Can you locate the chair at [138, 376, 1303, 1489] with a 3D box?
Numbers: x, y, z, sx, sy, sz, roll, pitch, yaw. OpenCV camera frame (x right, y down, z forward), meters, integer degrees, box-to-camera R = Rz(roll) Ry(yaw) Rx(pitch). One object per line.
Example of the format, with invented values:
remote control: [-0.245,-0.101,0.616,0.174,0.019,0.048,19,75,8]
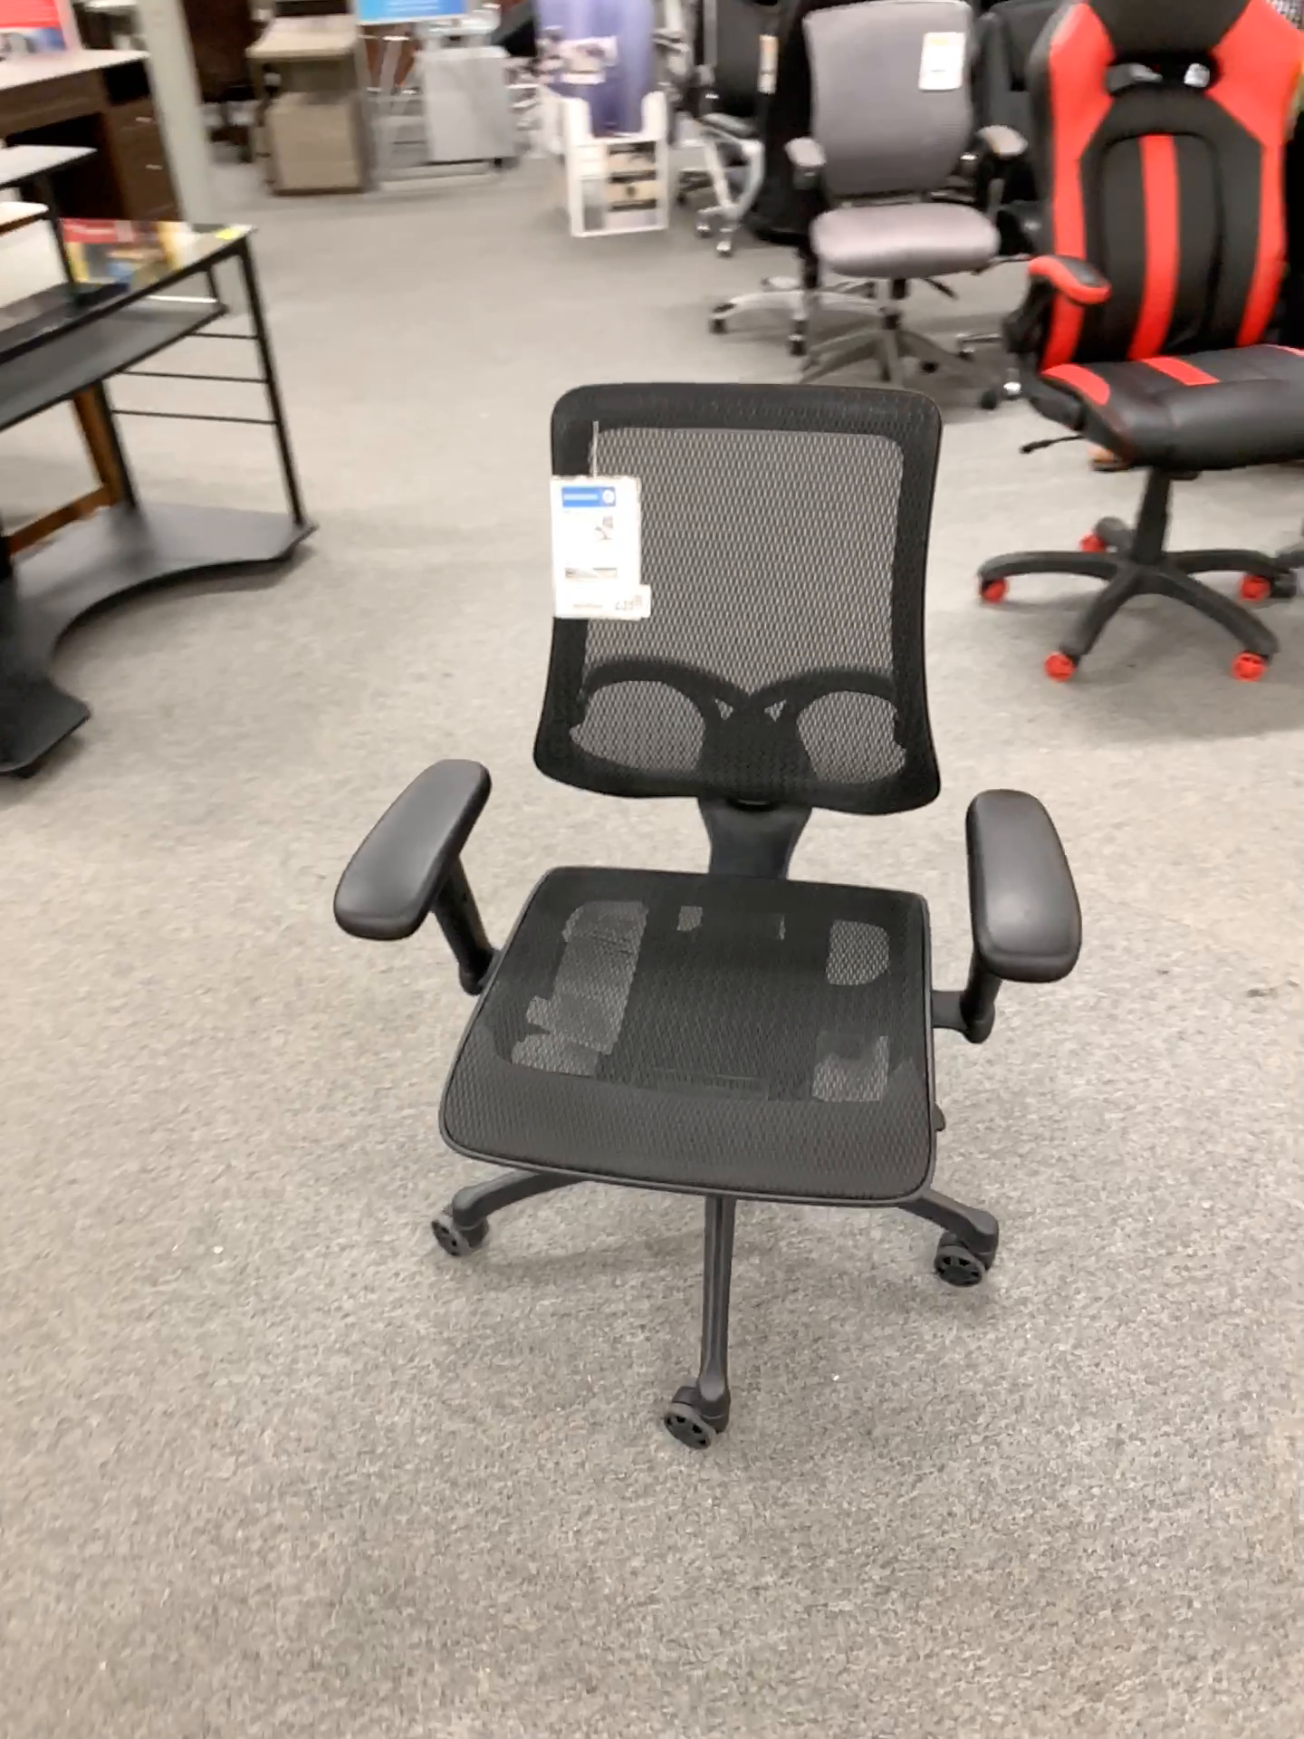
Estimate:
chair: [0.094,0.034,1.369,0.760,0.805,0.764,1,38,5]
